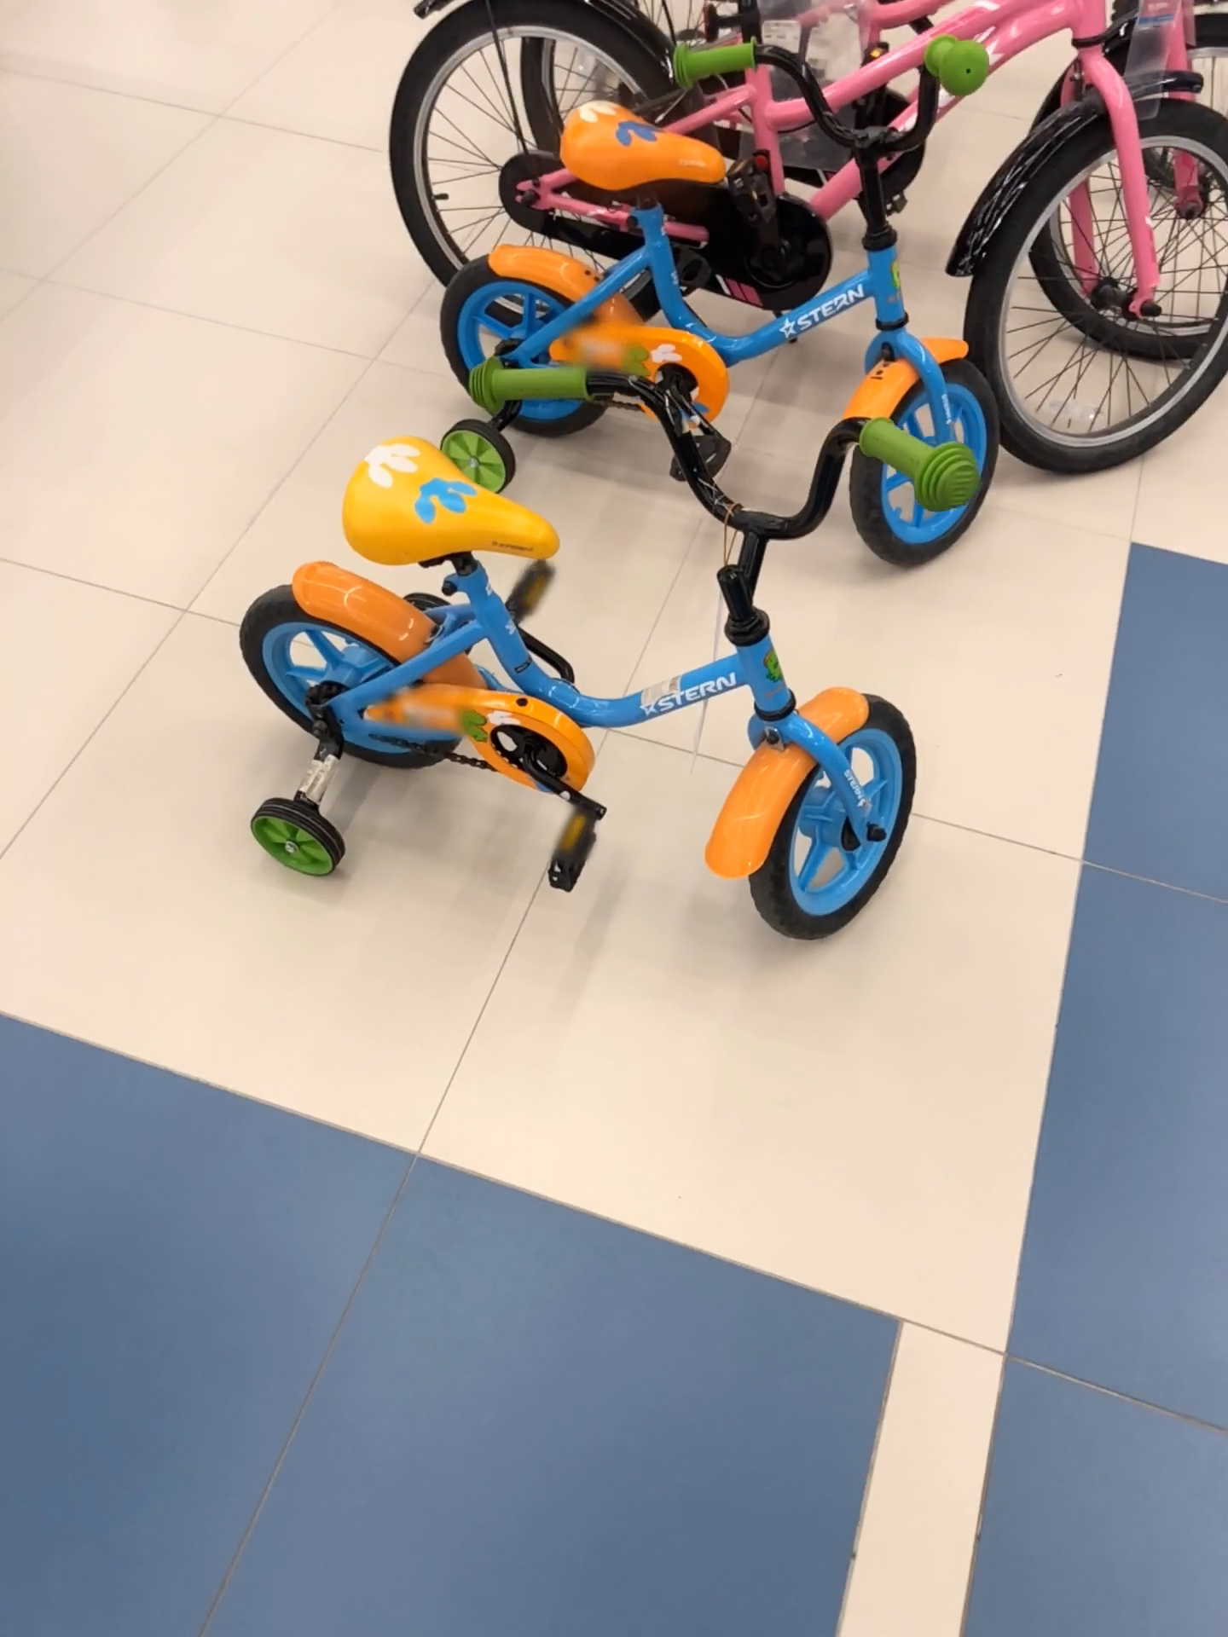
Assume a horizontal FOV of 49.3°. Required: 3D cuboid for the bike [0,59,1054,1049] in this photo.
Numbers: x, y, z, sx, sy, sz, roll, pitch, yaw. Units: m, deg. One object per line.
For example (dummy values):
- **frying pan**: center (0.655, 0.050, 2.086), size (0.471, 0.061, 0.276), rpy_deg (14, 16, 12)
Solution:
- **bike**: center (-0.050, -0.231, 1.329), size (0.750, 0.682, 0.567), rpy_deg (9, 53, 4)
